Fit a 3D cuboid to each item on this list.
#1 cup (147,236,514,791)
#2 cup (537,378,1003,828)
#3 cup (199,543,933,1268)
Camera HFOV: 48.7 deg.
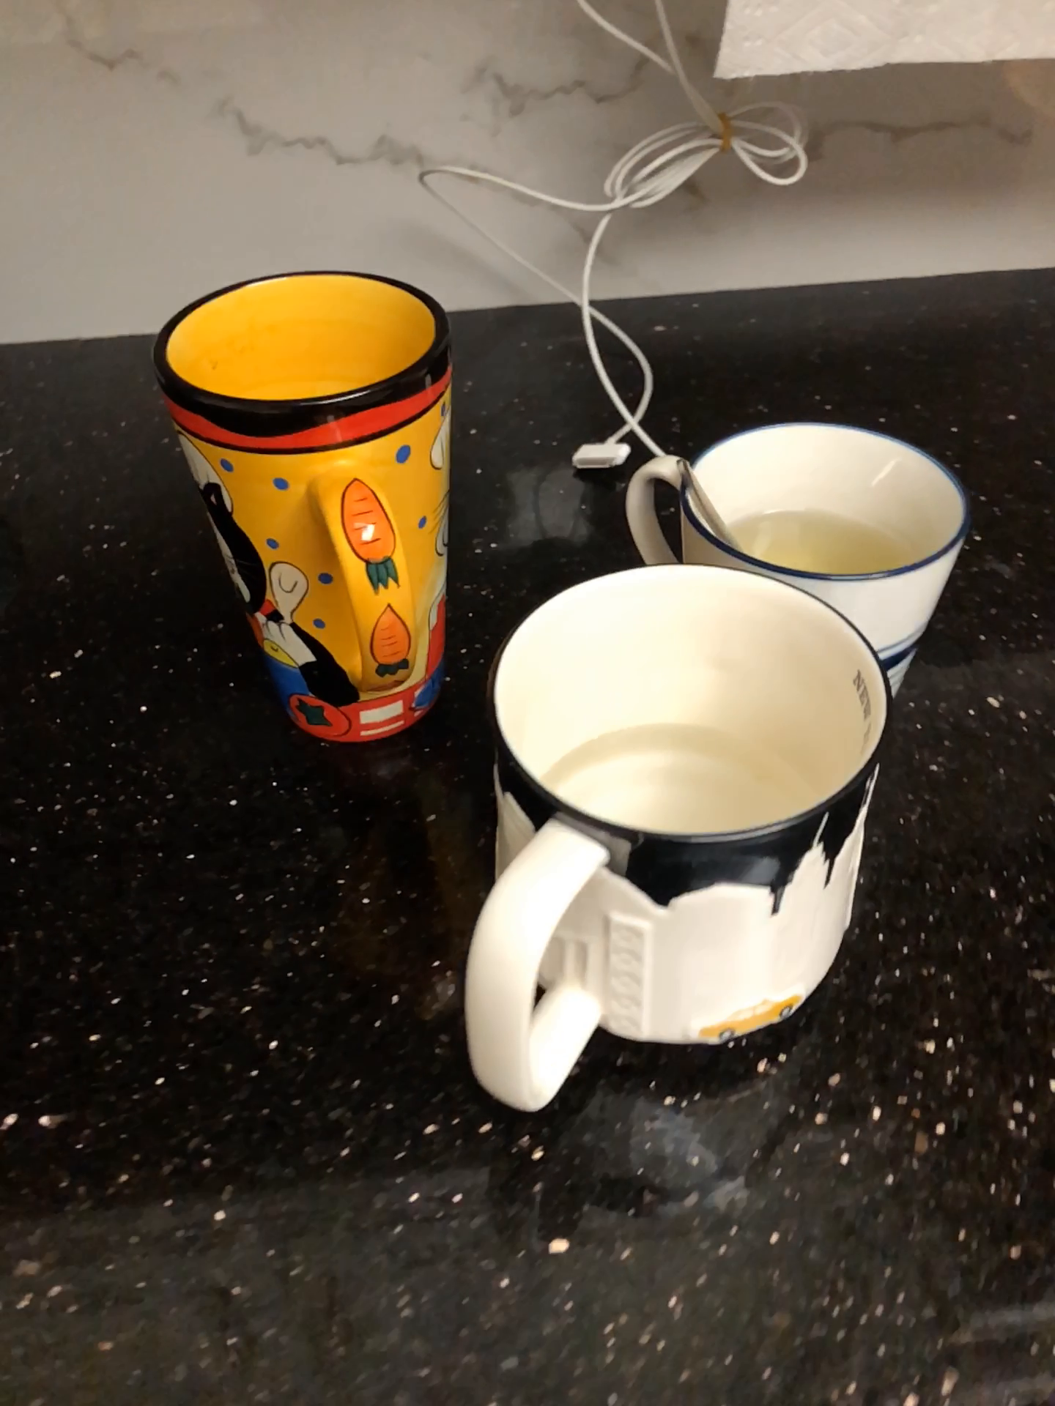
[{"bbox_3d":[-0.060,-0.061,0.374,0.080,0.129,0.101,-14,45,-13],"label":"cup"},{"bbox_3d":[0.074,-0.038,0.391,0.080,0.080,0.120,-33,52,-29],"label":"cup"},{"bbox_3d":[0.015,0.041,0.320,0.120,0.070,0.150,28,51,28],"label":"cup"}]
